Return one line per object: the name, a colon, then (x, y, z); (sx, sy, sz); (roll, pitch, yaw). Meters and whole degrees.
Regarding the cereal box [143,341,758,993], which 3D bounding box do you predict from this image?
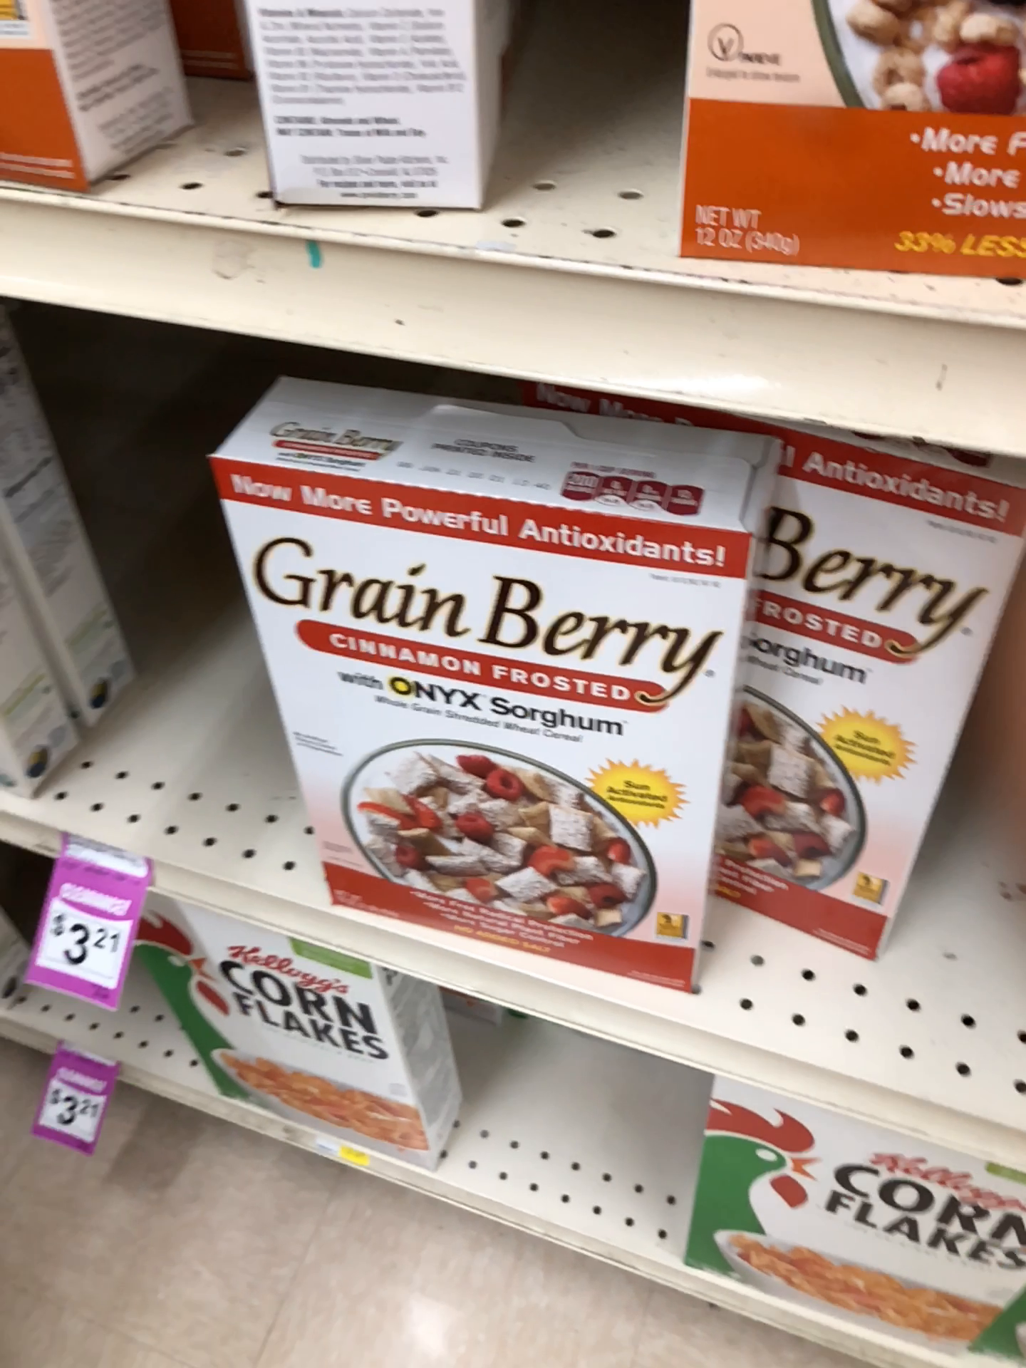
cereal box: (-0.016, 0.008, 0.491); (0.200, 0.280, 0.070); (11, 47, 13)
